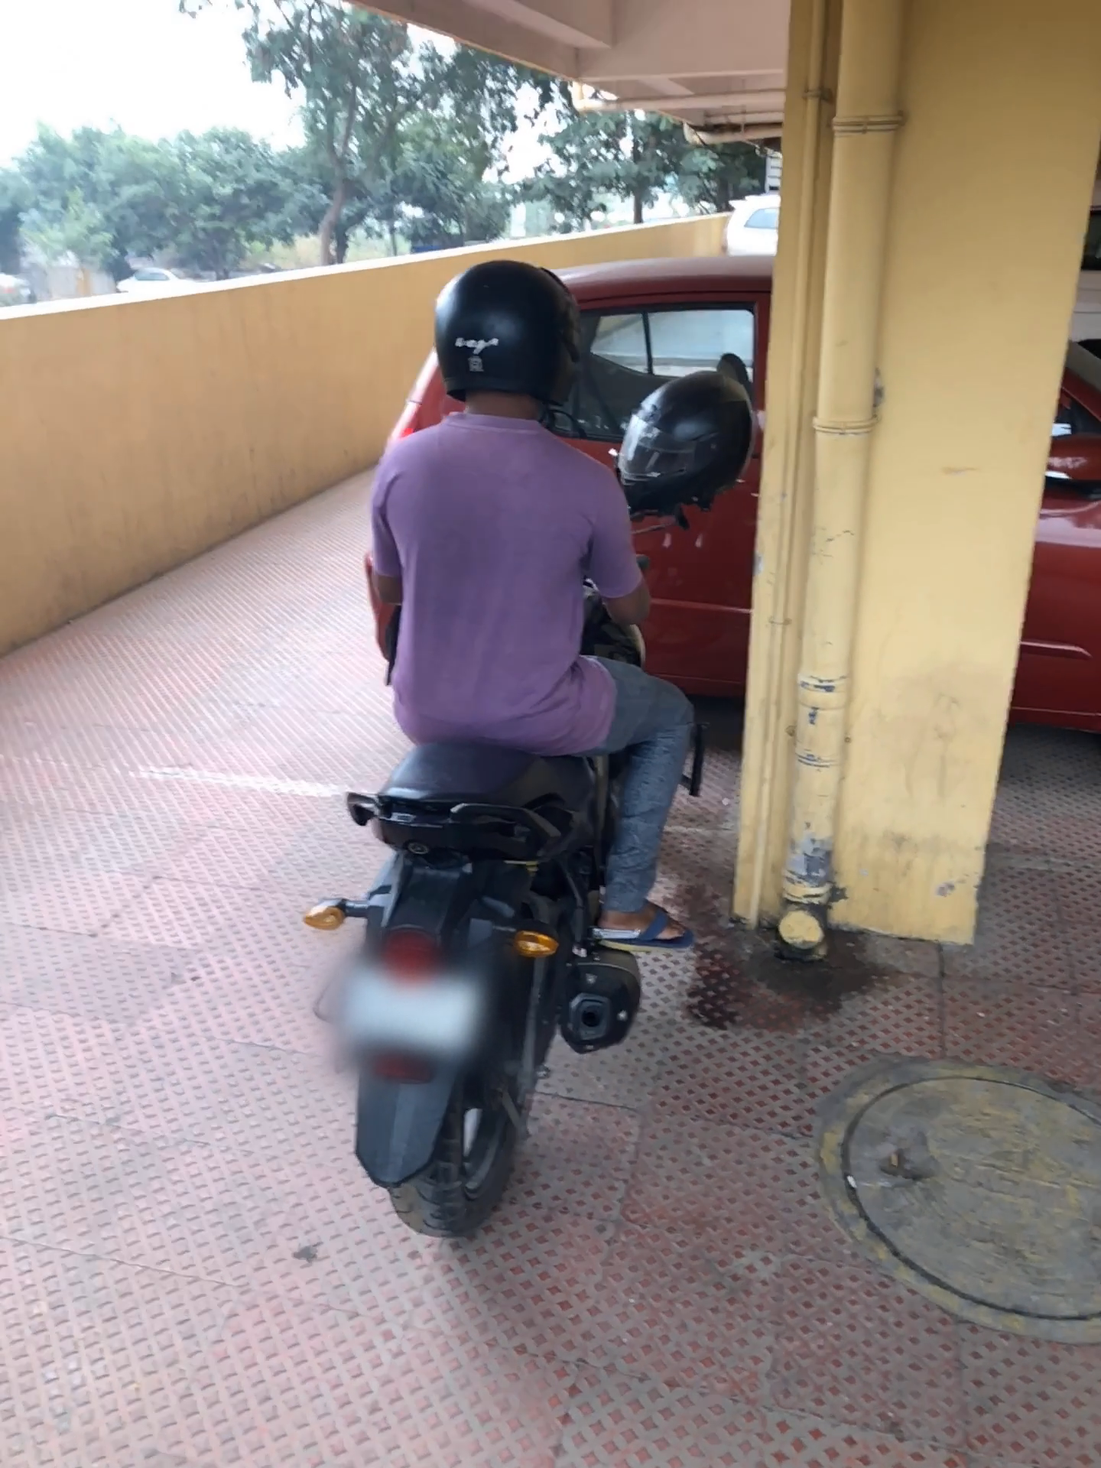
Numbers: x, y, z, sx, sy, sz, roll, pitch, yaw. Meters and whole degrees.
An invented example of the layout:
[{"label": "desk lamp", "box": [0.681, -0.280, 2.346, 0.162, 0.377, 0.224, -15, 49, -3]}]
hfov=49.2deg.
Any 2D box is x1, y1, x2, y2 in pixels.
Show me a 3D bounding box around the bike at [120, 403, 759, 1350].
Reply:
[{"label": "bike", "box": [-0.077, 0.044, 2.660, 0.852, 1.155, 1.916, 2, 25, 5]}]
